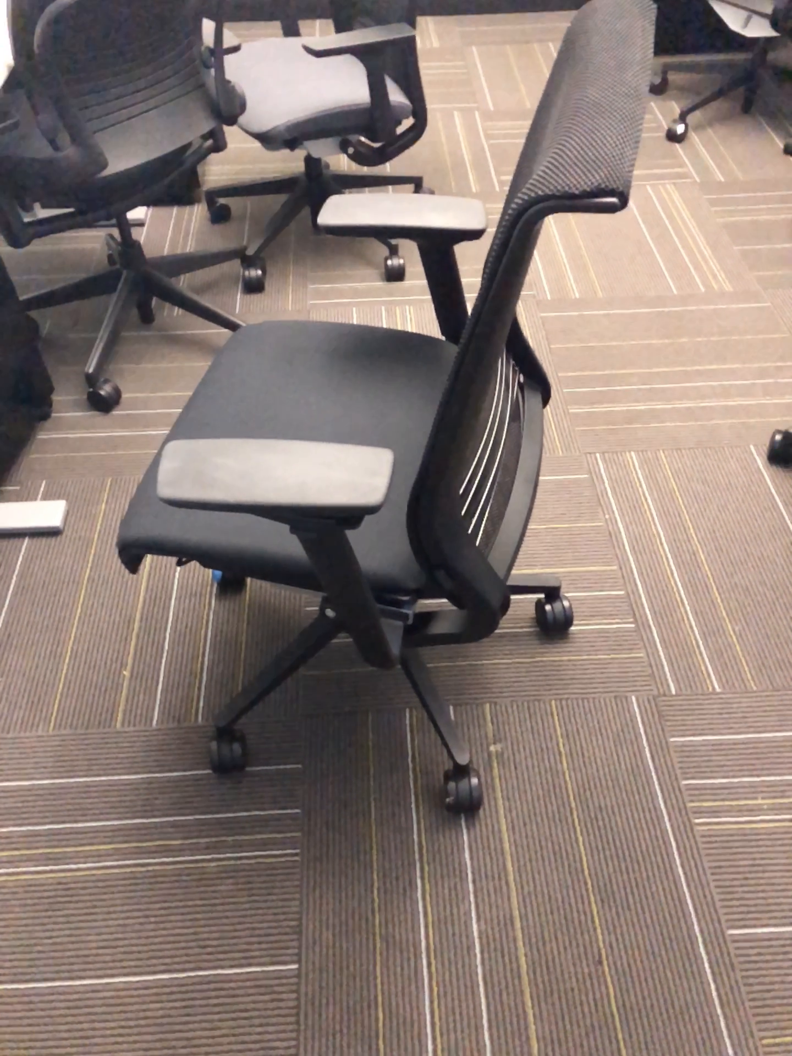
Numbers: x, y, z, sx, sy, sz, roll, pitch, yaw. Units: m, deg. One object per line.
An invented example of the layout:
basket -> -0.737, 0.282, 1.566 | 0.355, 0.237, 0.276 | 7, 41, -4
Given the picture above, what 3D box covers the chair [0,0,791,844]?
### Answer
chair -> 0.011, -0.191, 1.198 | 0.660, 0.996, 0.753 | 7, 48, 8
